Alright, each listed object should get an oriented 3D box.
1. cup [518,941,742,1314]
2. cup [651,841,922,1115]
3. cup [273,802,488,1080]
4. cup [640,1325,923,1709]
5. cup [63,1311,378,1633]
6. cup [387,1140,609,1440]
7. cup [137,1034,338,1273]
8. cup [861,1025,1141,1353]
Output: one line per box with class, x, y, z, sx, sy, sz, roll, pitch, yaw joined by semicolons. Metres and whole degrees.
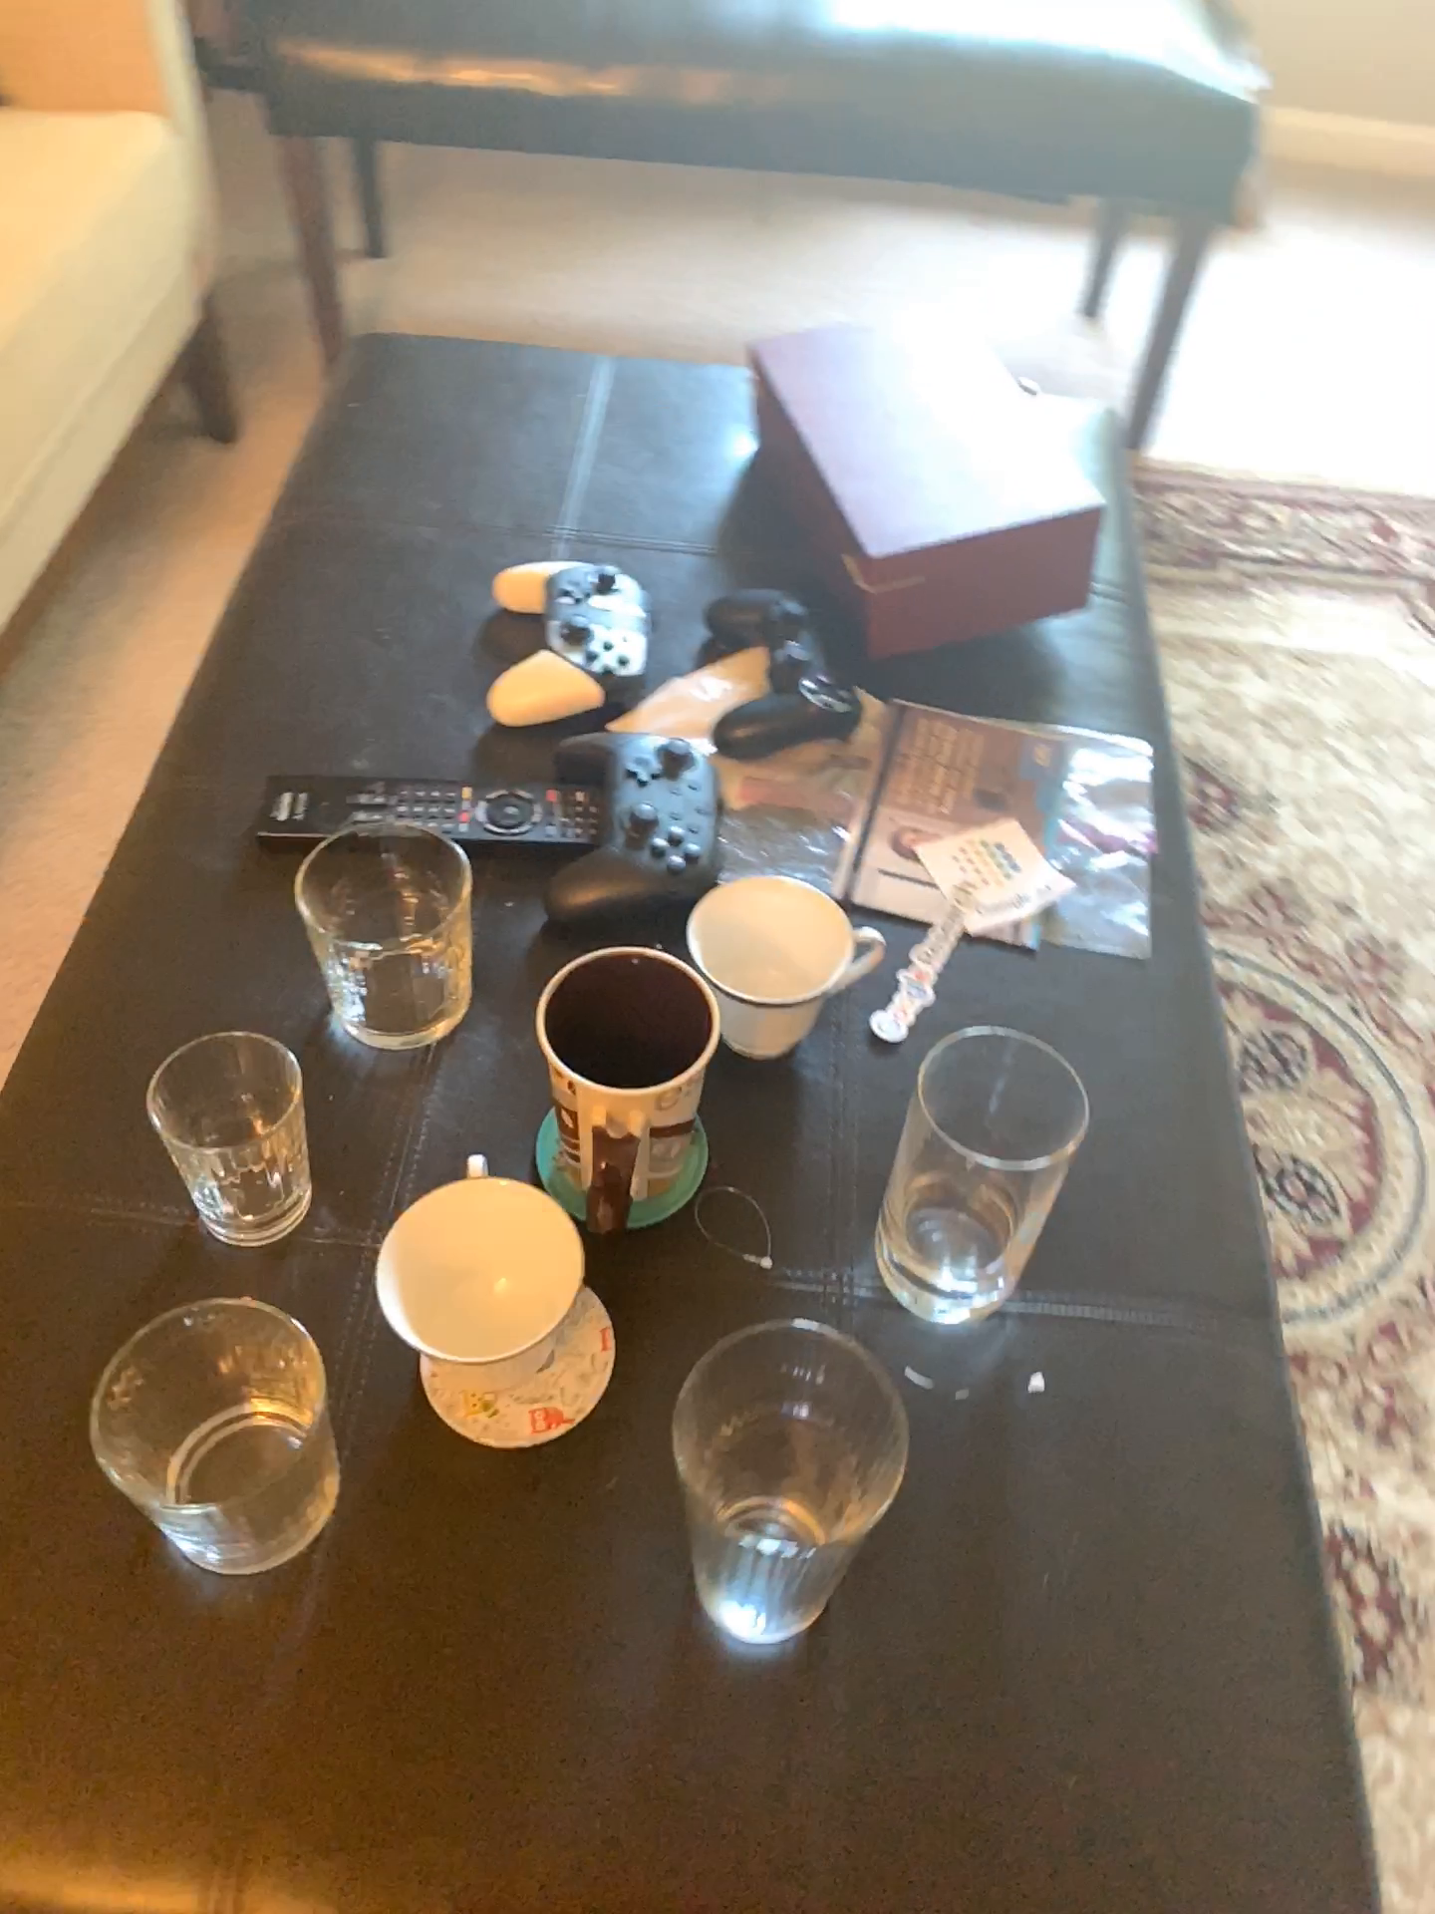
cup;-0.042;0.085;0.721;0.090;0.120;0.131;6;51;-1
cup;0.035;0.010;0.806;0.110;0.080;0.090;-21;56;-21
cup;-0.177;-0.007;0.794;0.090;0.120;0.090;3;51;-3
cup;0.018;0.236;0.602;0.090;0.189;0.090;3;51;-4
cup;-0.202;0.220;0.620;0.090;0.120;0.090;3;51;-3
cup;-0.096;0.149;0.662;0.090;0.070;0.110;0;51;-6
cup;-0.228;0.096;0.710;0.070;0.100;0.070;3;51;-3
cup;0.125;0.112;0.687;0.090;0.139;0.090;3;51;-4
